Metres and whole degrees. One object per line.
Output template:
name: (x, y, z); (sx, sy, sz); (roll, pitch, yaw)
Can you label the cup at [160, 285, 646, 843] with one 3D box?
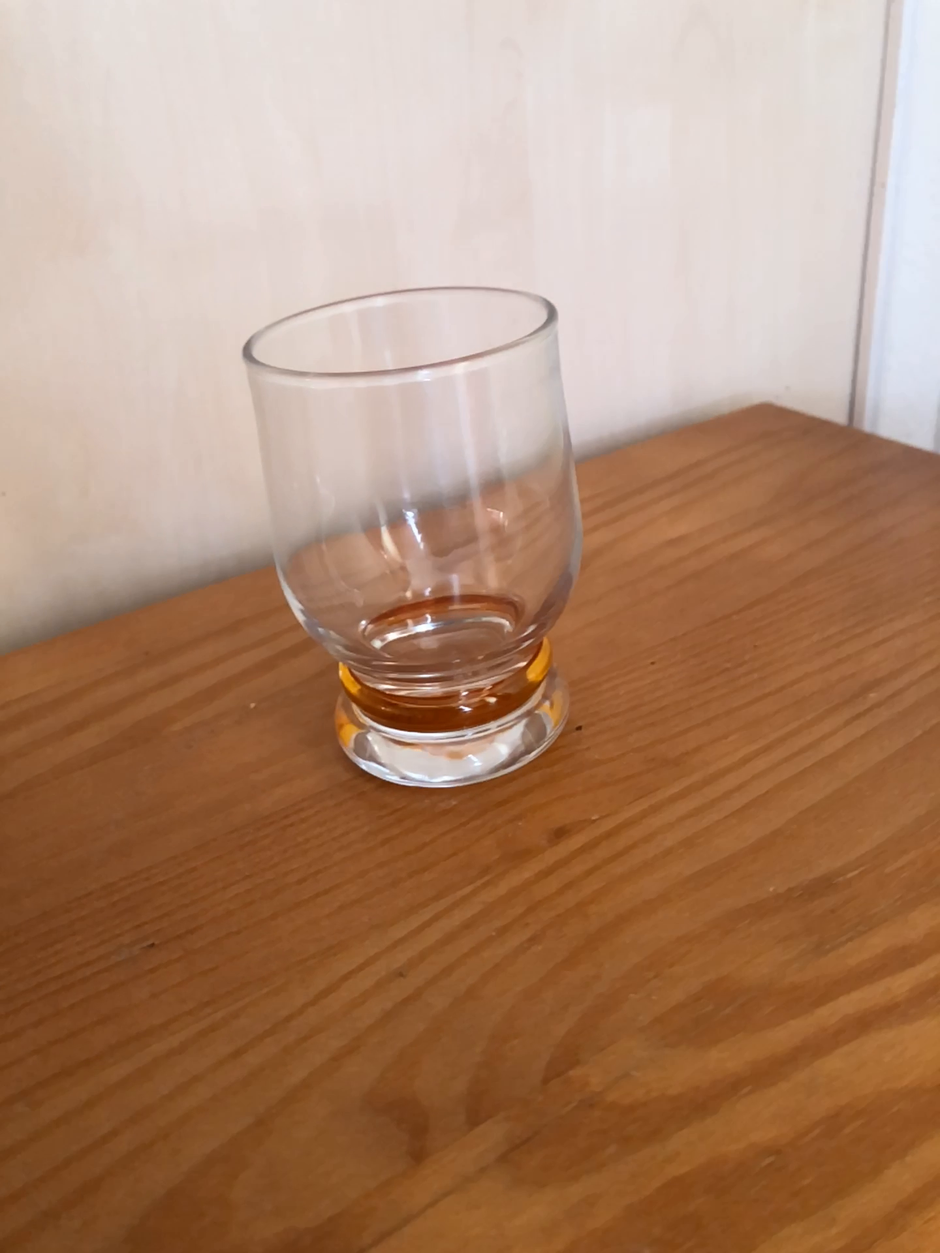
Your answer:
cup: (-0.010, -0.021, 0.252); (0.076, 0.099, 0.074); (-5, 29, 3)
